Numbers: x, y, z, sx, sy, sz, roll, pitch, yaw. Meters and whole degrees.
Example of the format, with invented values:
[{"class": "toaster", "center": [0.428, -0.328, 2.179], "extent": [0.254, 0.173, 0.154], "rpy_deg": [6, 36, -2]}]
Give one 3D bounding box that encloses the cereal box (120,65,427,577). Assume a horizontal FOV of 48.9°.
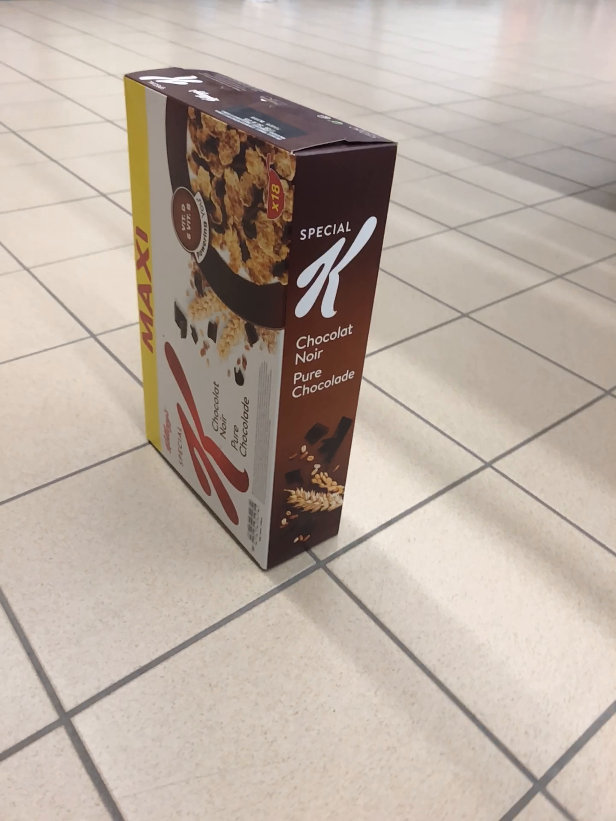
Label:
[{"class": "cereal box", "center": [-0.045, -0.065, 0.488], "extent": [0.070, 0.298, 0.210], "rpy_deg": [-21, 43, -35]}]
